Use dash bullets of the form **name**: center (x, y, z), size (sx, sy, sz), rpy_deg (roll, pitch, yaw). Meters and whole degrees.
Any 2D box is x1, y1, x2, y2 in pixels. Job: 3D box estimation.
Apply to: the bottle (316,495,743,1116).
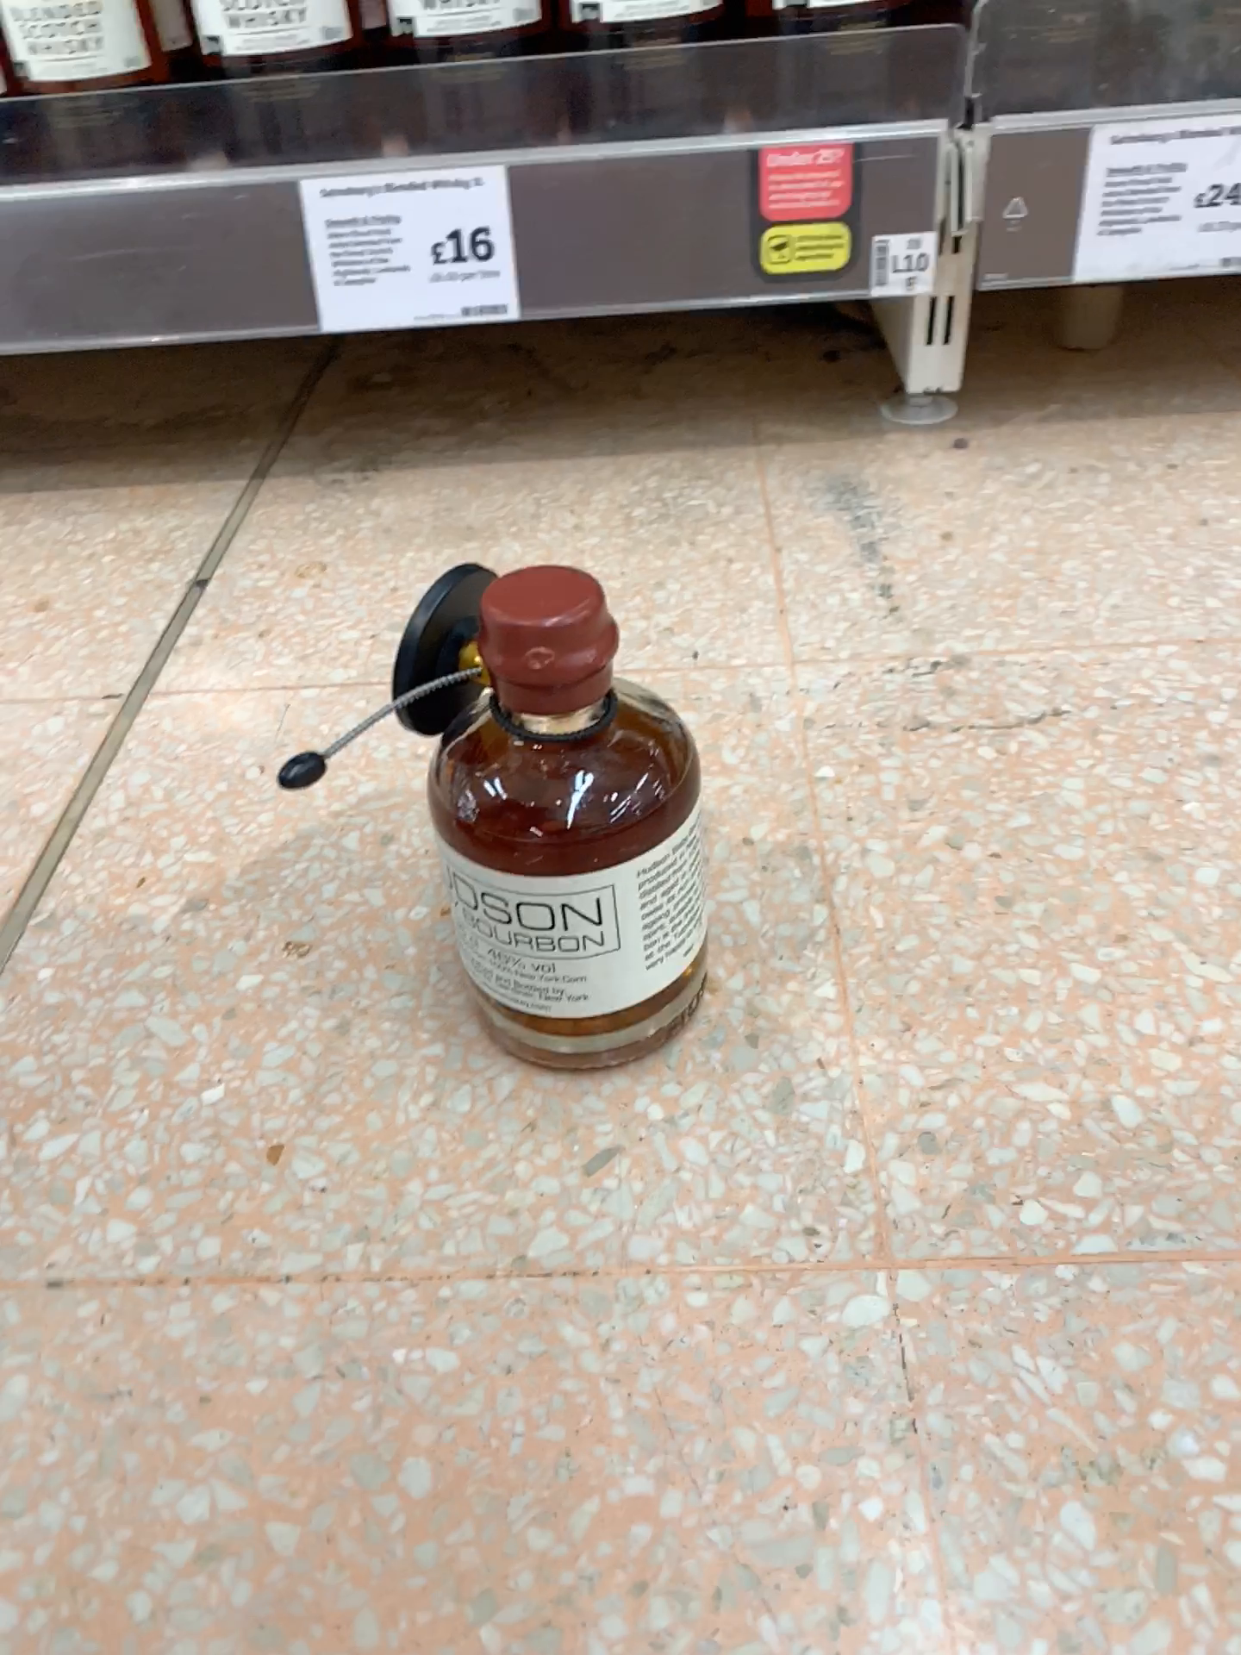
- **bottle**: center (-0.017, -0.005, 0.357), size (0.076, 0.142, 0.073), rpy_deg (-3, 39, 3)
